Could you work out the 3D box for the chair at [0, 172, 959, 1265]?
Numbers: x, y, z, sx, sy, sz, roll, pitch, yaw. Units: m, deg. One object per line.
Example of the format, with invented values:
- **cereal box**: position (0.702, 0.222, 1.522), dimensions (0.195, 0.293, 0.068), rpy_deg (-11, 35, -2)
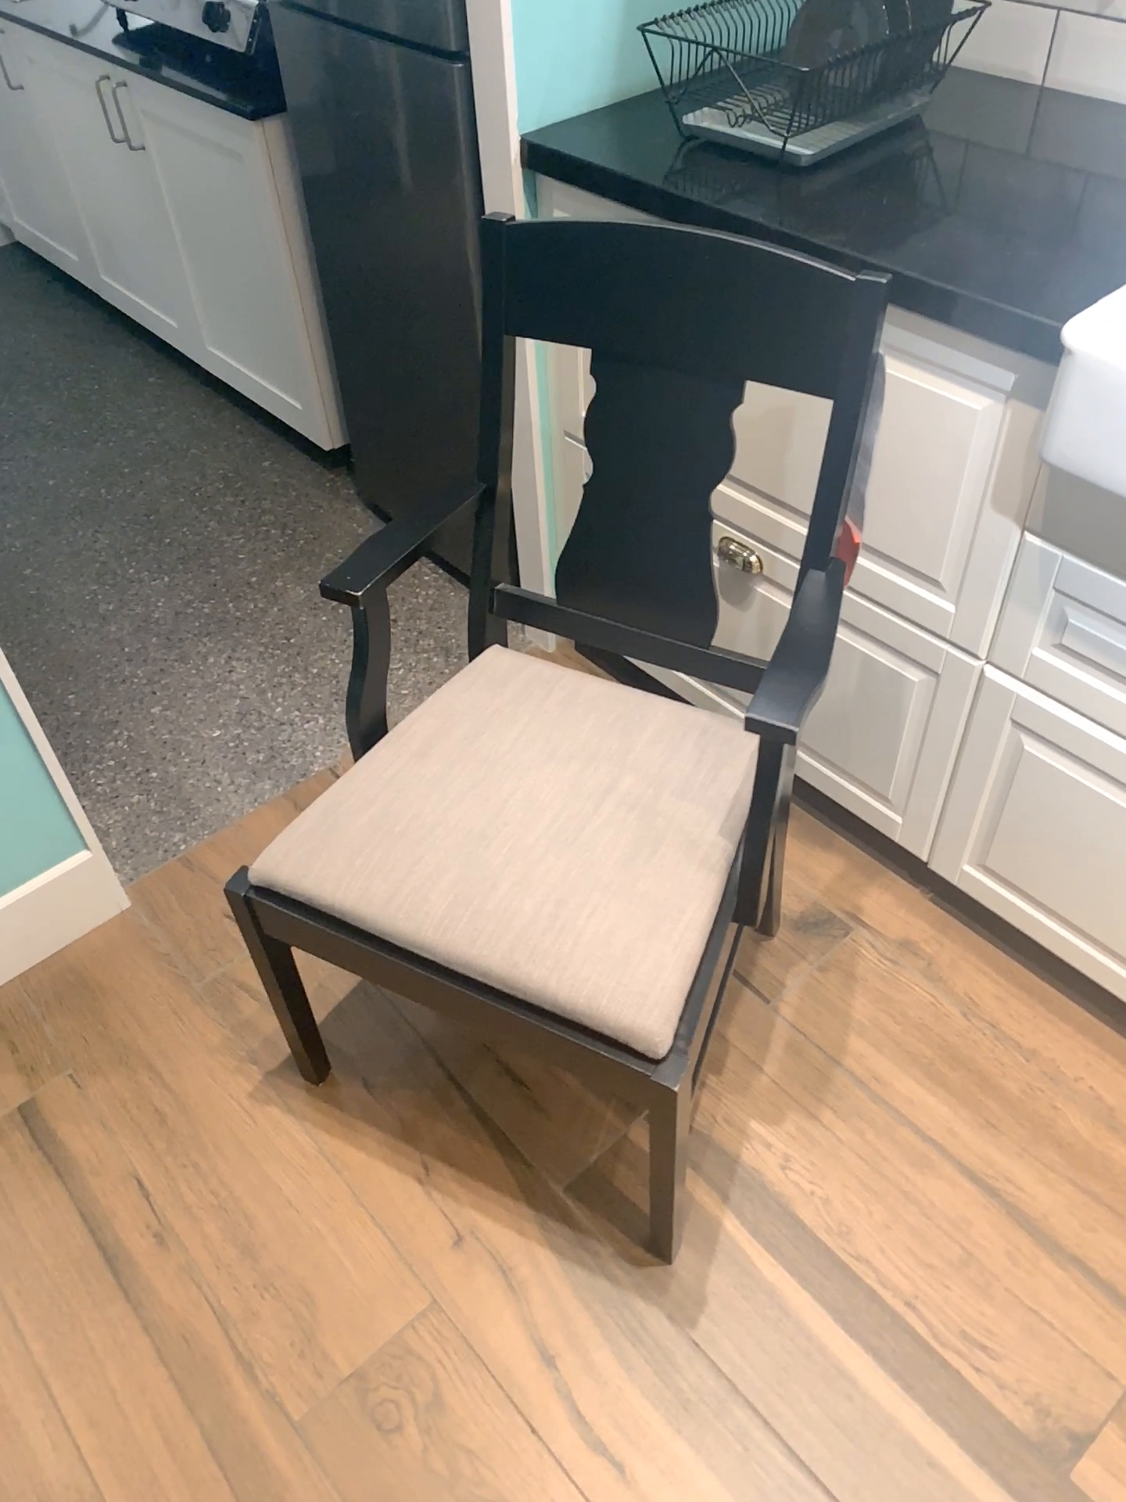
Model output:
- **chair**: position (-0.023, -0.020, 1.236), dimensions (0.571, 0.887, 0.591), rpy_deg (19, 50, 21)
